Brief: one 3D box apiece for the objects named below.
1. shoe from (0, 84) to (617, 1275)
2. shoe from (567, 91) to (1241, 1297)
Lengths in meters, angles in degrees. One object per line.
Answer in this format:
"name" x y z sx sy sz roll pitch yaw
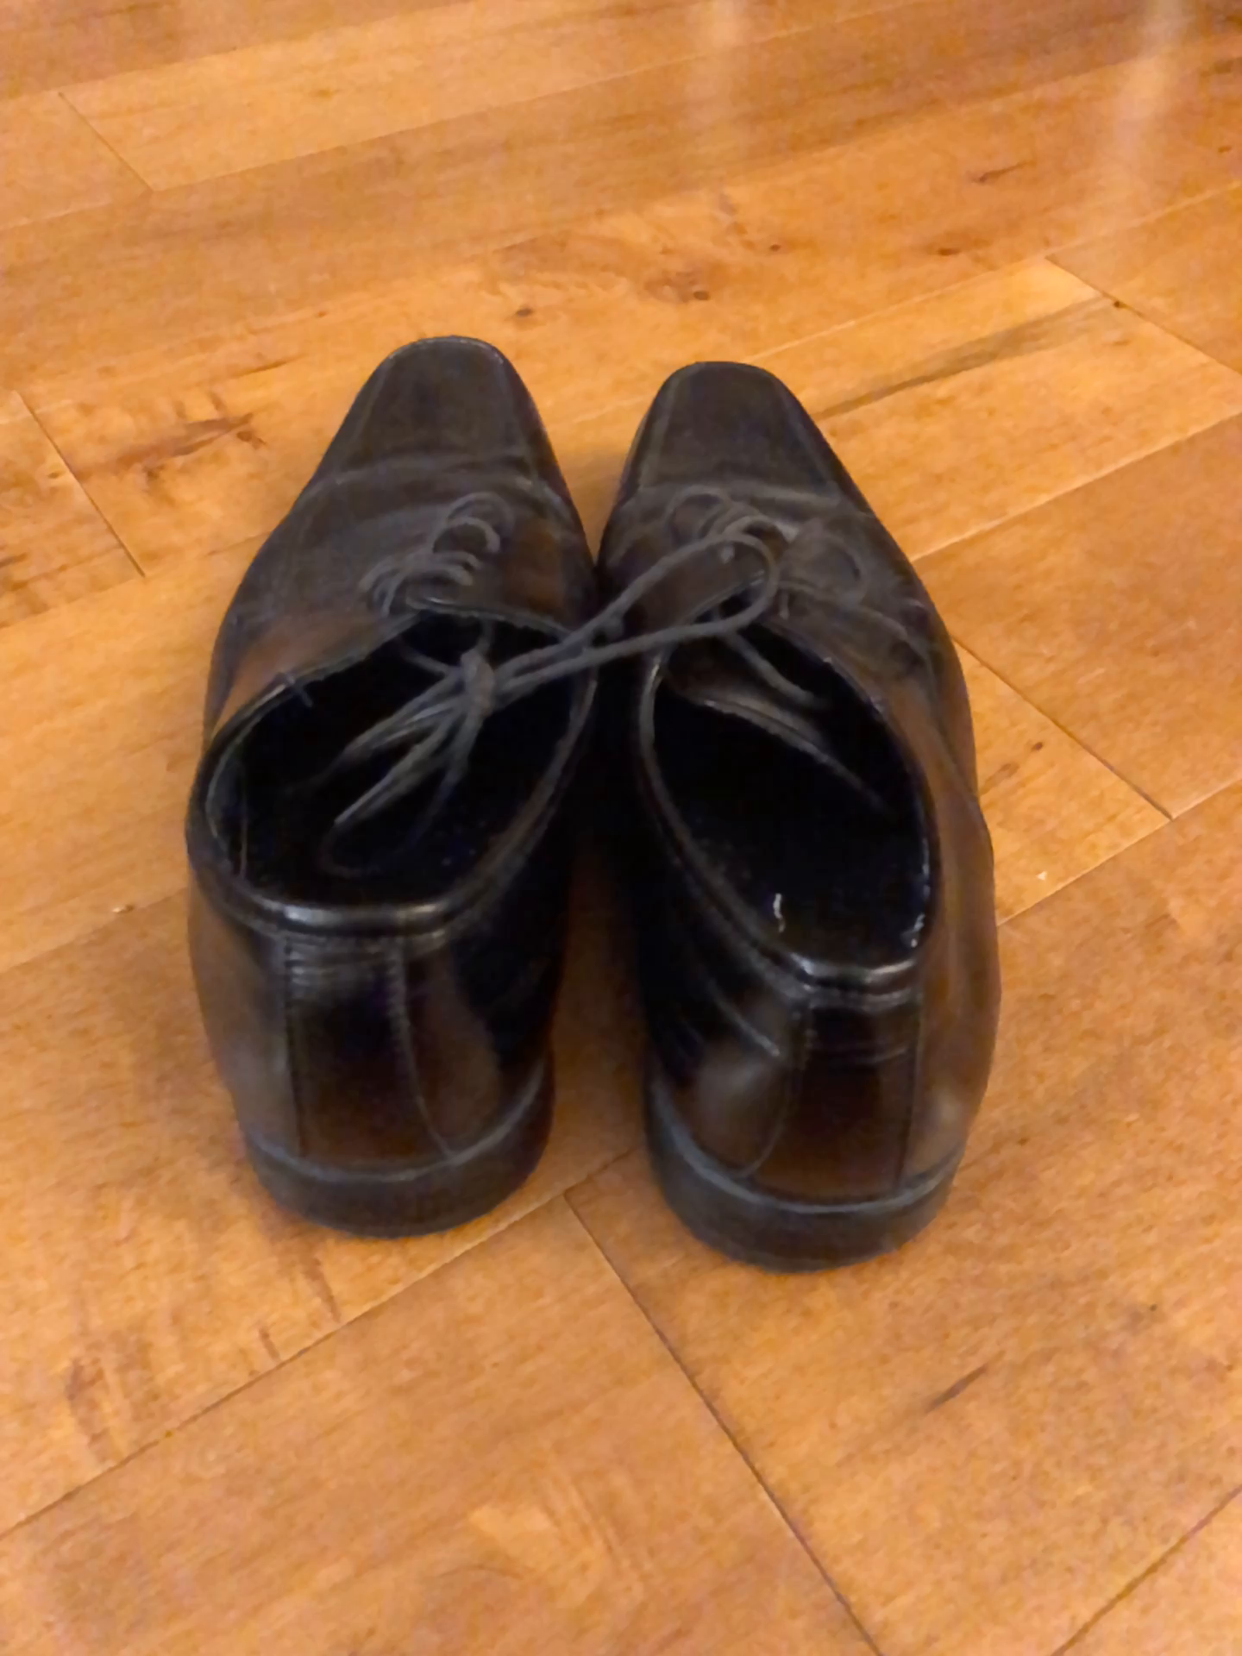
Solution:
"shoe" -0.059 -0.062 0.355 0.110 0.129 0.312 0 49 -1
"shoe" 0.044 -0.058 0.352 0.110 0.129 0.312 0 49 -1
